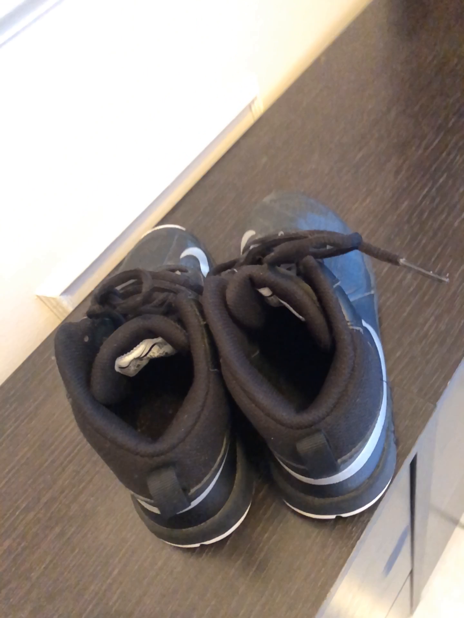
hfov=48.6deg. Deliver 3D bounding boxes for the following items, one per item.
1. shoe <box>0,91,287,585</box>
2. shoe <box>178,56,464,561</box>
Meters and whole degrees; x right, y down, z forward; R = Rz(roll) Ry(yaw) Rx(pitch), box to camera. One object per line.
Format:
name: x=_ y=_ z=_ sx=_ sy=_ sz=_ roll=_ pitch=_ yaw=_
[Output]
shoe: x=-0.057 y=0.004 z=0.317 sx=0.100 sy=0.129 sz=0.261 roll=-18 pitch=50 yaw=7
shoe: x=0.040 y=-0.010 z=0.298 sx=0.100 sy=0.129 sz=0.251 roll=-13 pitch=51 yaw=10
